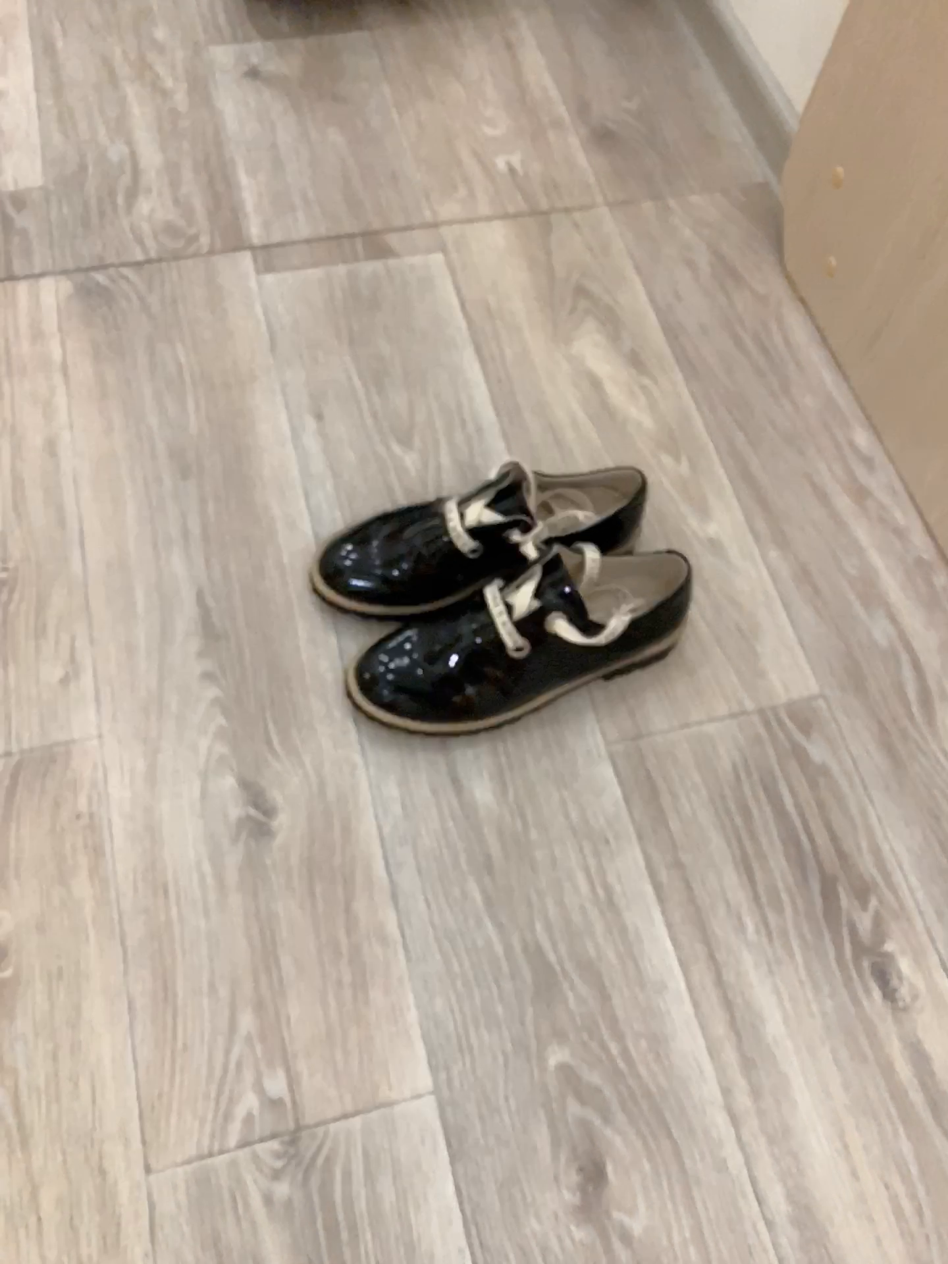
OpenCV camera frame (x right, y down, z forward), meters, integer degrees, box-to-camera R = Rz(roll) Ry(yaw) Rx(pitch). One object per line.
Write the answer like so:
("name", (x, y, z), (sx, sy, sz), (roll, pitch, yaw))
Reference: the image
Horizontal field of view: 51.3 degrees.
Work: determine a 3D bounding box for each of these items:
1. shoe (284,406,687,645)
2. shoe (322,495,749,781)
("shoe", (0.005, -0.080, 0.743), (0.270, 0.100, 0.100), (-10, 65, -9))
("shoe", (0.040, 0.004, 0.707), (0.270, 0.100, 0.100), (-17, 66, -12))
